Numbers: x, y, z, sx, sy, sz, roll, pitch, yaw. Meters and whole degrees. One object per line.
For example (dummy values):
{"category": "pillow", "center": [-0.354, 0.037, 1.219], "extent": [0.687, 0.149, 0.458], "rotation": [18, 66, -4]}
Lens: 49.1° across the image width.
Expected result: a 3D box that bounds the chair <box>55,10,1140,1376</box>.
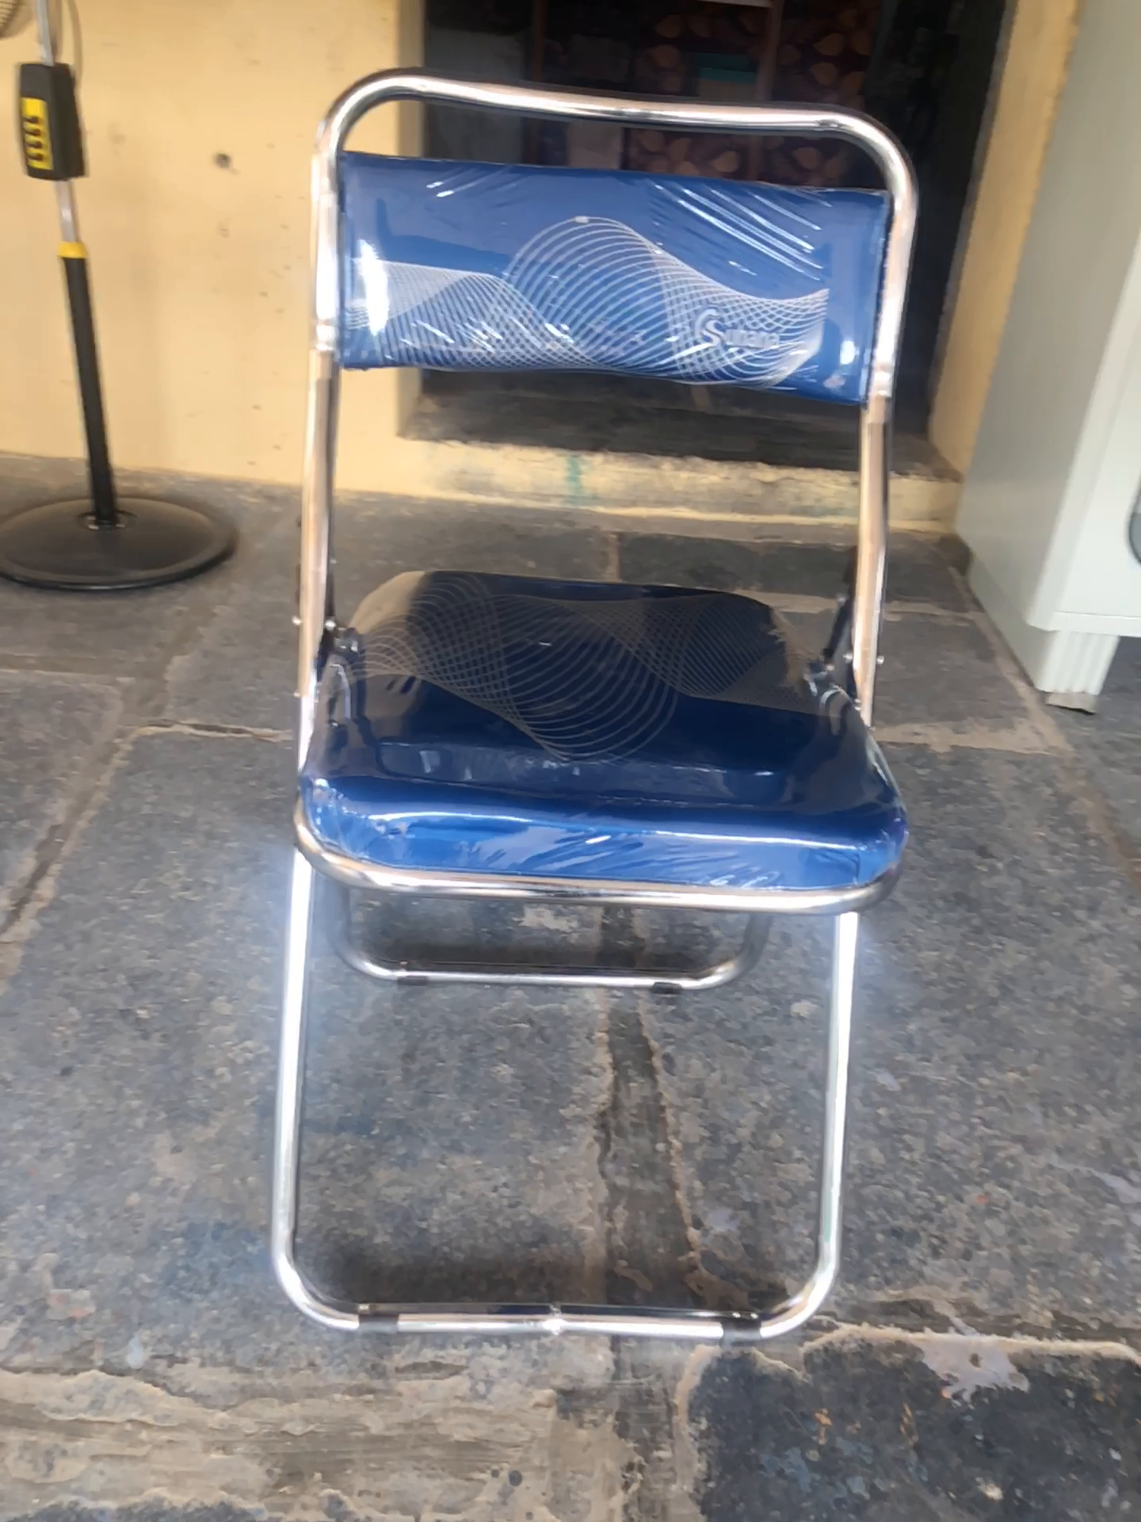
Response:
{"category": "chair", "center": [0.017, -0.047, 0.905], "extent": [0.500, 0.806, 0.513], "rotation": [2, 29, -4]}
